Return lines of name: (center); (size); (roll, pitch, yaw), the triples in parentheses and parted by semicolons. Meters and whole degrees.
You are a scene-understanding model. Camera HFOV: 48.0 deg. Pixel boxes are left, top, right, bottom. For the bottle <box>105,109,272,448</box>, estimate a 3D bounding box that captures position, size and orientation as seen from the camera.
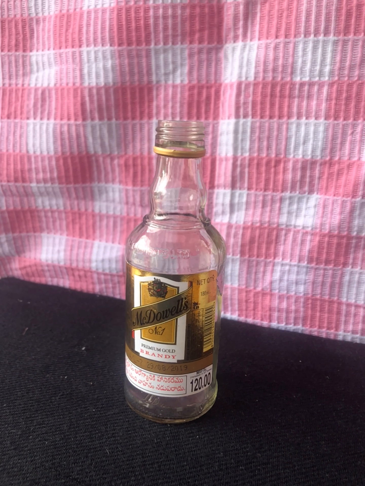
bottle: (0.001, 0.014, 0.203); (0.060, 0.149, 0.050); (10, 19, 20)
